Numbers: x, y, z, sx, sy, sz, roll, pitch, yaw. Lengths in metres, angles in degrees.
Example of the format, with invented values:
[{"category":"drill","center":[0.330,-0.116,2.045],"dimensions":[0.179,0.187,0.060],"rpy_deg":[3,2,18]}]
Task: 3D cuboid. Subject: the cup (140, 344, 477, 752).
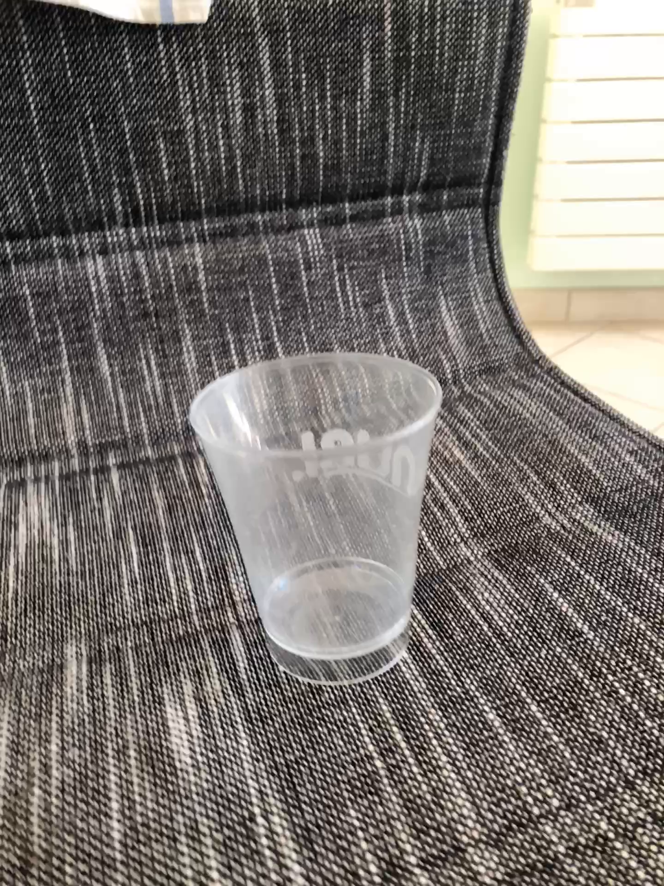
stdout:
[{"category":"cup","center":[-0.001,0.030,0.260],"dimensions":[0.080,0.099,0.081],"rpy_deg":[-4,26,2]}]
